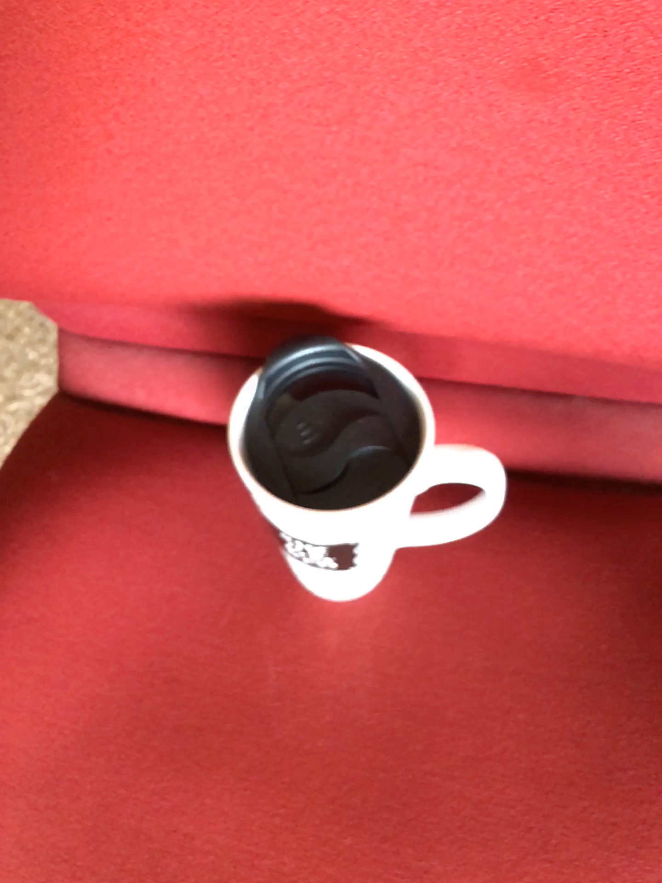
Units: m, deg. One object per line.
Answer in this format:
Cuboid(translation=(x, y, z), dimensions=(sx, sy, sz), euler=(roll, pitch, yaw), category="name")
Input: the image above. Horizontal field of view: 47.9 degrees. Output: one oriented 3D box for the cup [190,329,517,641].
Cuboid(translation=(0.020, 0.031, 0.380), dimensions=(0.120, 0.160, 0.080), euler=(11, 65, 14), category="cup")
